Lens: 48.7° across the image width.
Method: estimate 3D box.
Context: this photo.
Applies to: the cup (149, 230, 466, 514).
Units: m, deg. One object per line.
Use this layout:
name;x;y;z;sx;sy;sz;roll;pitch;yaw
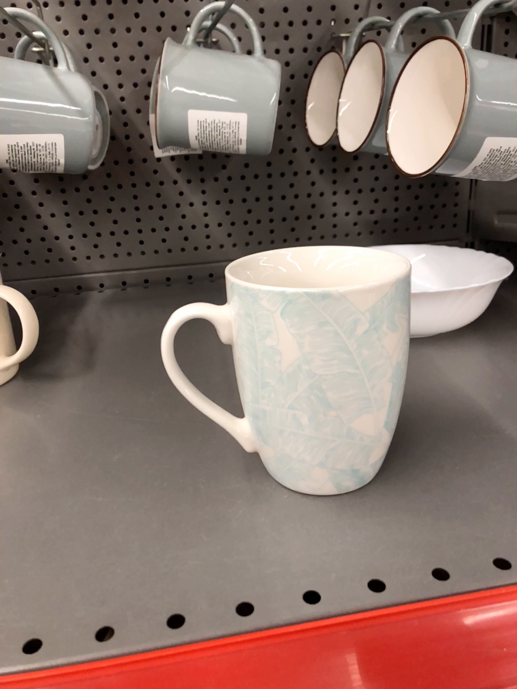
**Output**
cup;0.019;0.007;0.272;0.120;0.098;0.084;-5;23;-3
